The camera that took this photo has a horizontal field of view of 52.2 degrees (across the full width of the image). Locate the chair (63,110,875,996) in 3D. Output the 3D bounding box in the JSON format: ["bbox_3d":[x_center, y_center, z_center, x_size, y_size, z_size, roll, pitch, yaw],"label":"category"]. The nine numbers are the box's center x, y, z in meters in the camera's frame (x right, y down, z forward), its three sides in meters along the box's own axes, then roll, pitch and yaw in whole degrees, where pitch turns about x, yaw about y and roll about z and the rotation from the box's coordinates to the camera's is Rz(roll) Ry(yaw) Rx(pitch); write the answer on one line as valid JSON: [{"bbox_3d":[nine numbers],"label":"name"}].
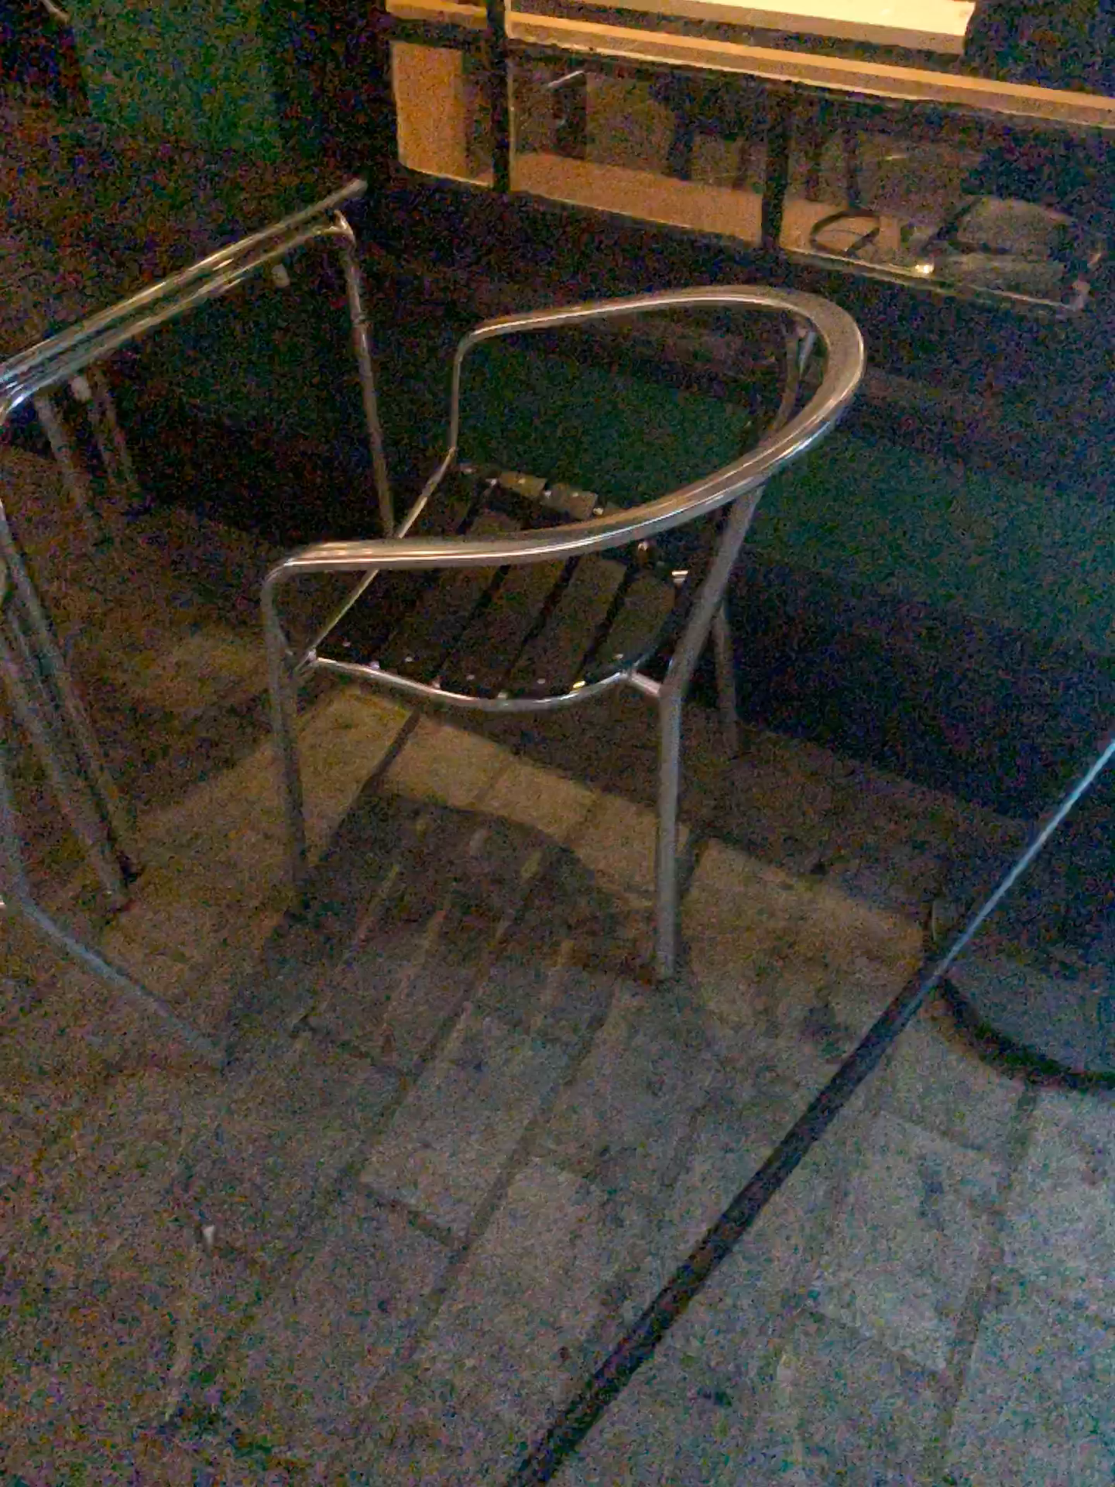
[{"bbox_3d":[-0.035,-0.252,1.454,0.651,0.782,0.666,12,46,13],"label":"chair"}]
